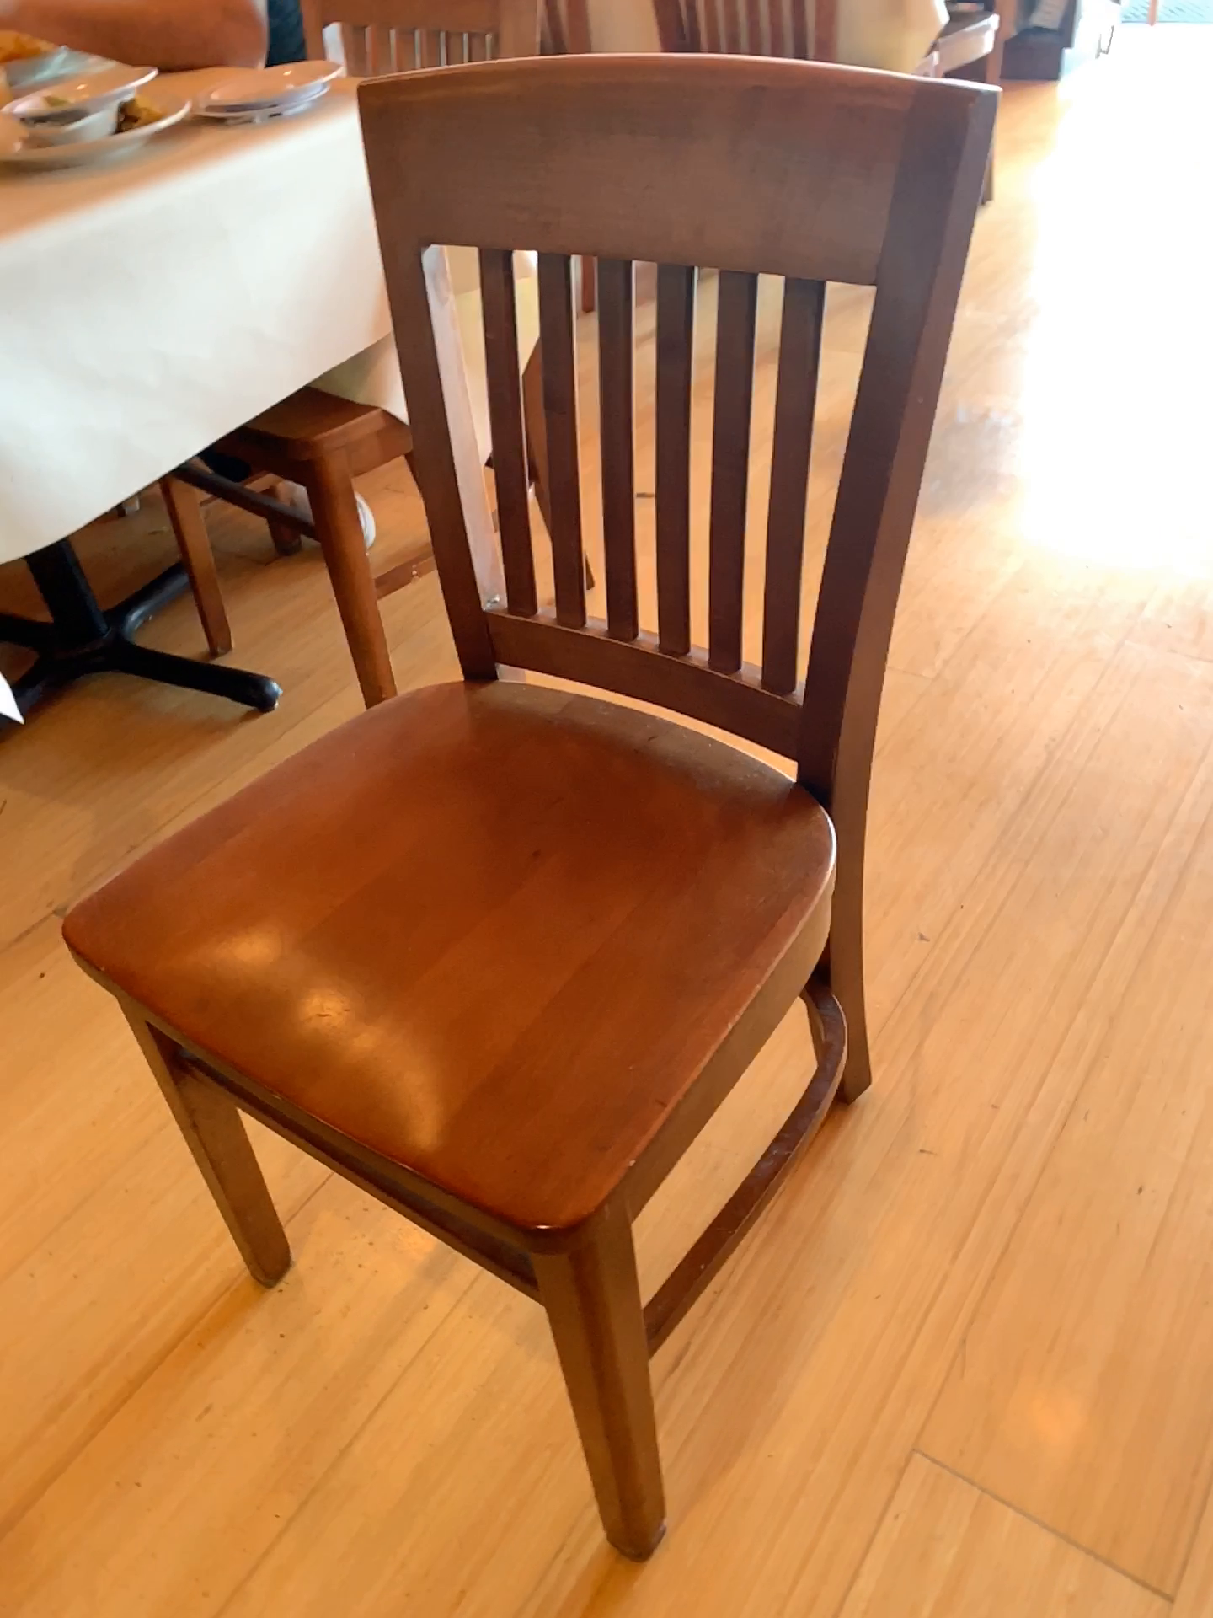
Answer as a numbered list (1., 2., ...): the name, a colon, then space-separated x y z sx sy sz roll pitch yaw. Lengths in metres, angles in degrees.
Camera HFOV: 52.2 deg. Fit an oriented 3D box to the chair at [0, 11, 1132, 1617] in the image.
1. chair: -0.057 -0.001 0.894 0.542 0.875 0.571 20 47 29
